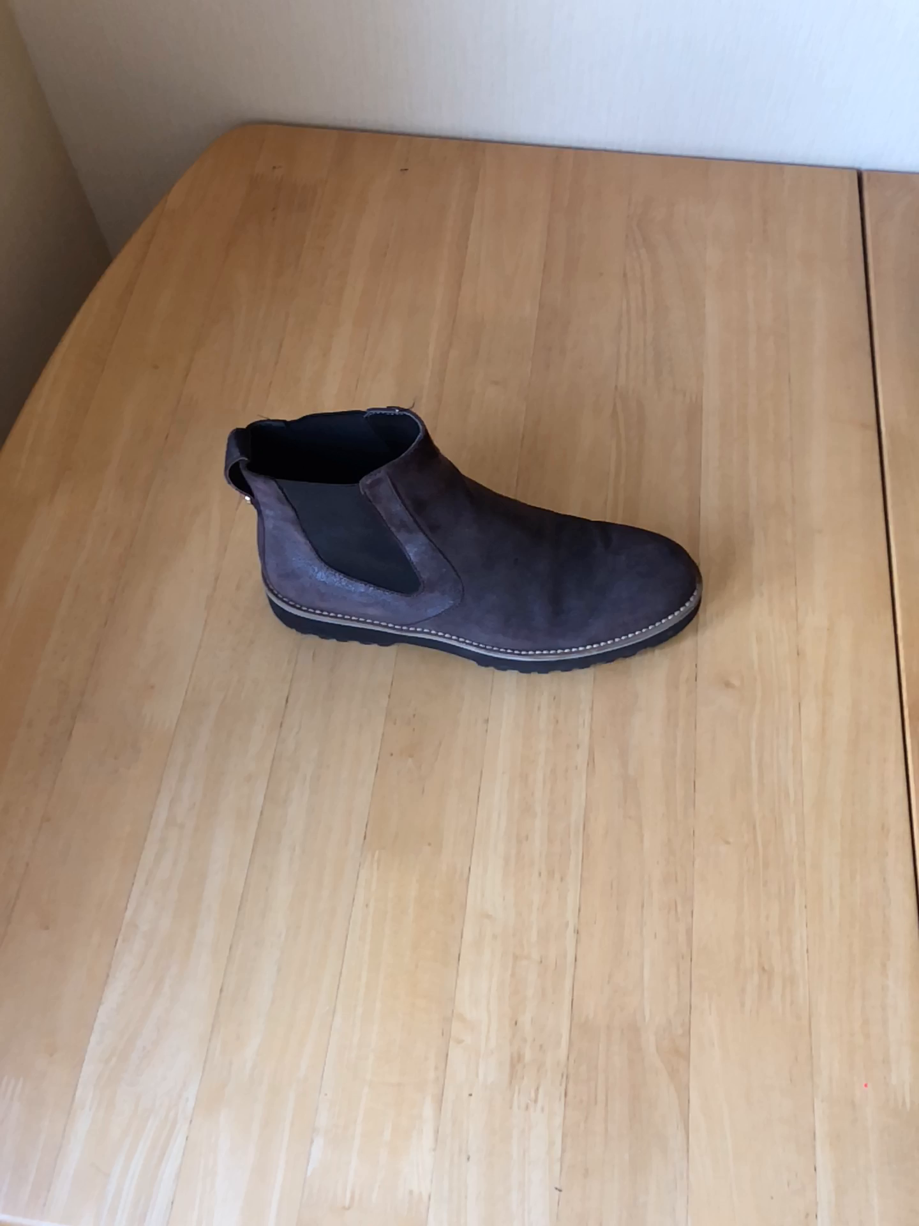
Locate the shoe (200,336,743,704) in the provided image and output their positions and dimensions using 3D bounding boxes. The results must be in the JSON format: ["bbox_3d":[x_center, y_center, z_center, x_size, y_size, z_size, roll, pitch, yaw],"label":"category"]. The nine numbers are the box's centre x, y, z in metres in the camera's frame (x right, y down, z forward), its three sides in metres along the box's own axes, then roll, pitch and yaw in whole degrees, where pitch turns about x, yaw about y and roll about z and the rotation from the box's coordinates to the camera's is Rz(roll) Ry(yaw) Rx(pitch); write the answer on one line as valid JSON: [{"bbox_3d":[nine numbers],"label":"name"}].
[{"bbox_3d":[0.010,-0.041,0.488,0.220,0.120,0.100,8,62,5],"label":"shoe"}]
